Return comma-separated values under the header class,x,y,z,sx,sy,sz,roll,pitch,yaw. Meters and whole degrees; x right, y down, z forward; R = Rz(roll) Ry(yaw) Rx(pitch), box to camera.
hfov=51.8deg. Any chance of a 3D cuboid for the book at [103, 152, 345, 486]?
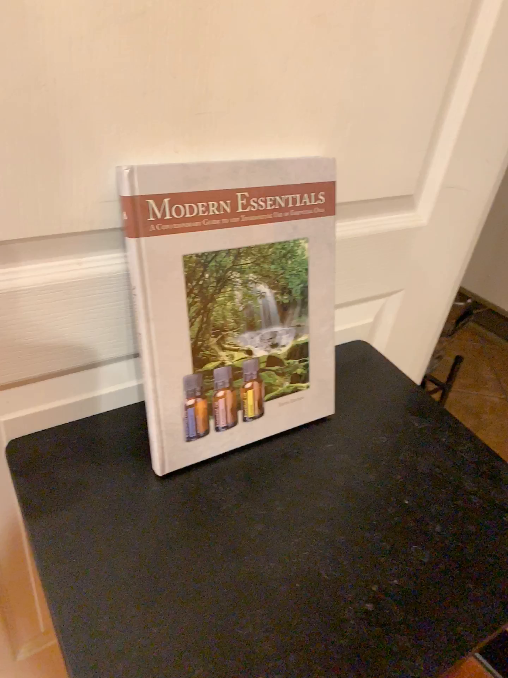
class,x,y,z,sx,sy,sz,roll,pitch,yaw
book,-0.011,-0.026,0.514,0.230,0.289,0.030,-14,22,-29
